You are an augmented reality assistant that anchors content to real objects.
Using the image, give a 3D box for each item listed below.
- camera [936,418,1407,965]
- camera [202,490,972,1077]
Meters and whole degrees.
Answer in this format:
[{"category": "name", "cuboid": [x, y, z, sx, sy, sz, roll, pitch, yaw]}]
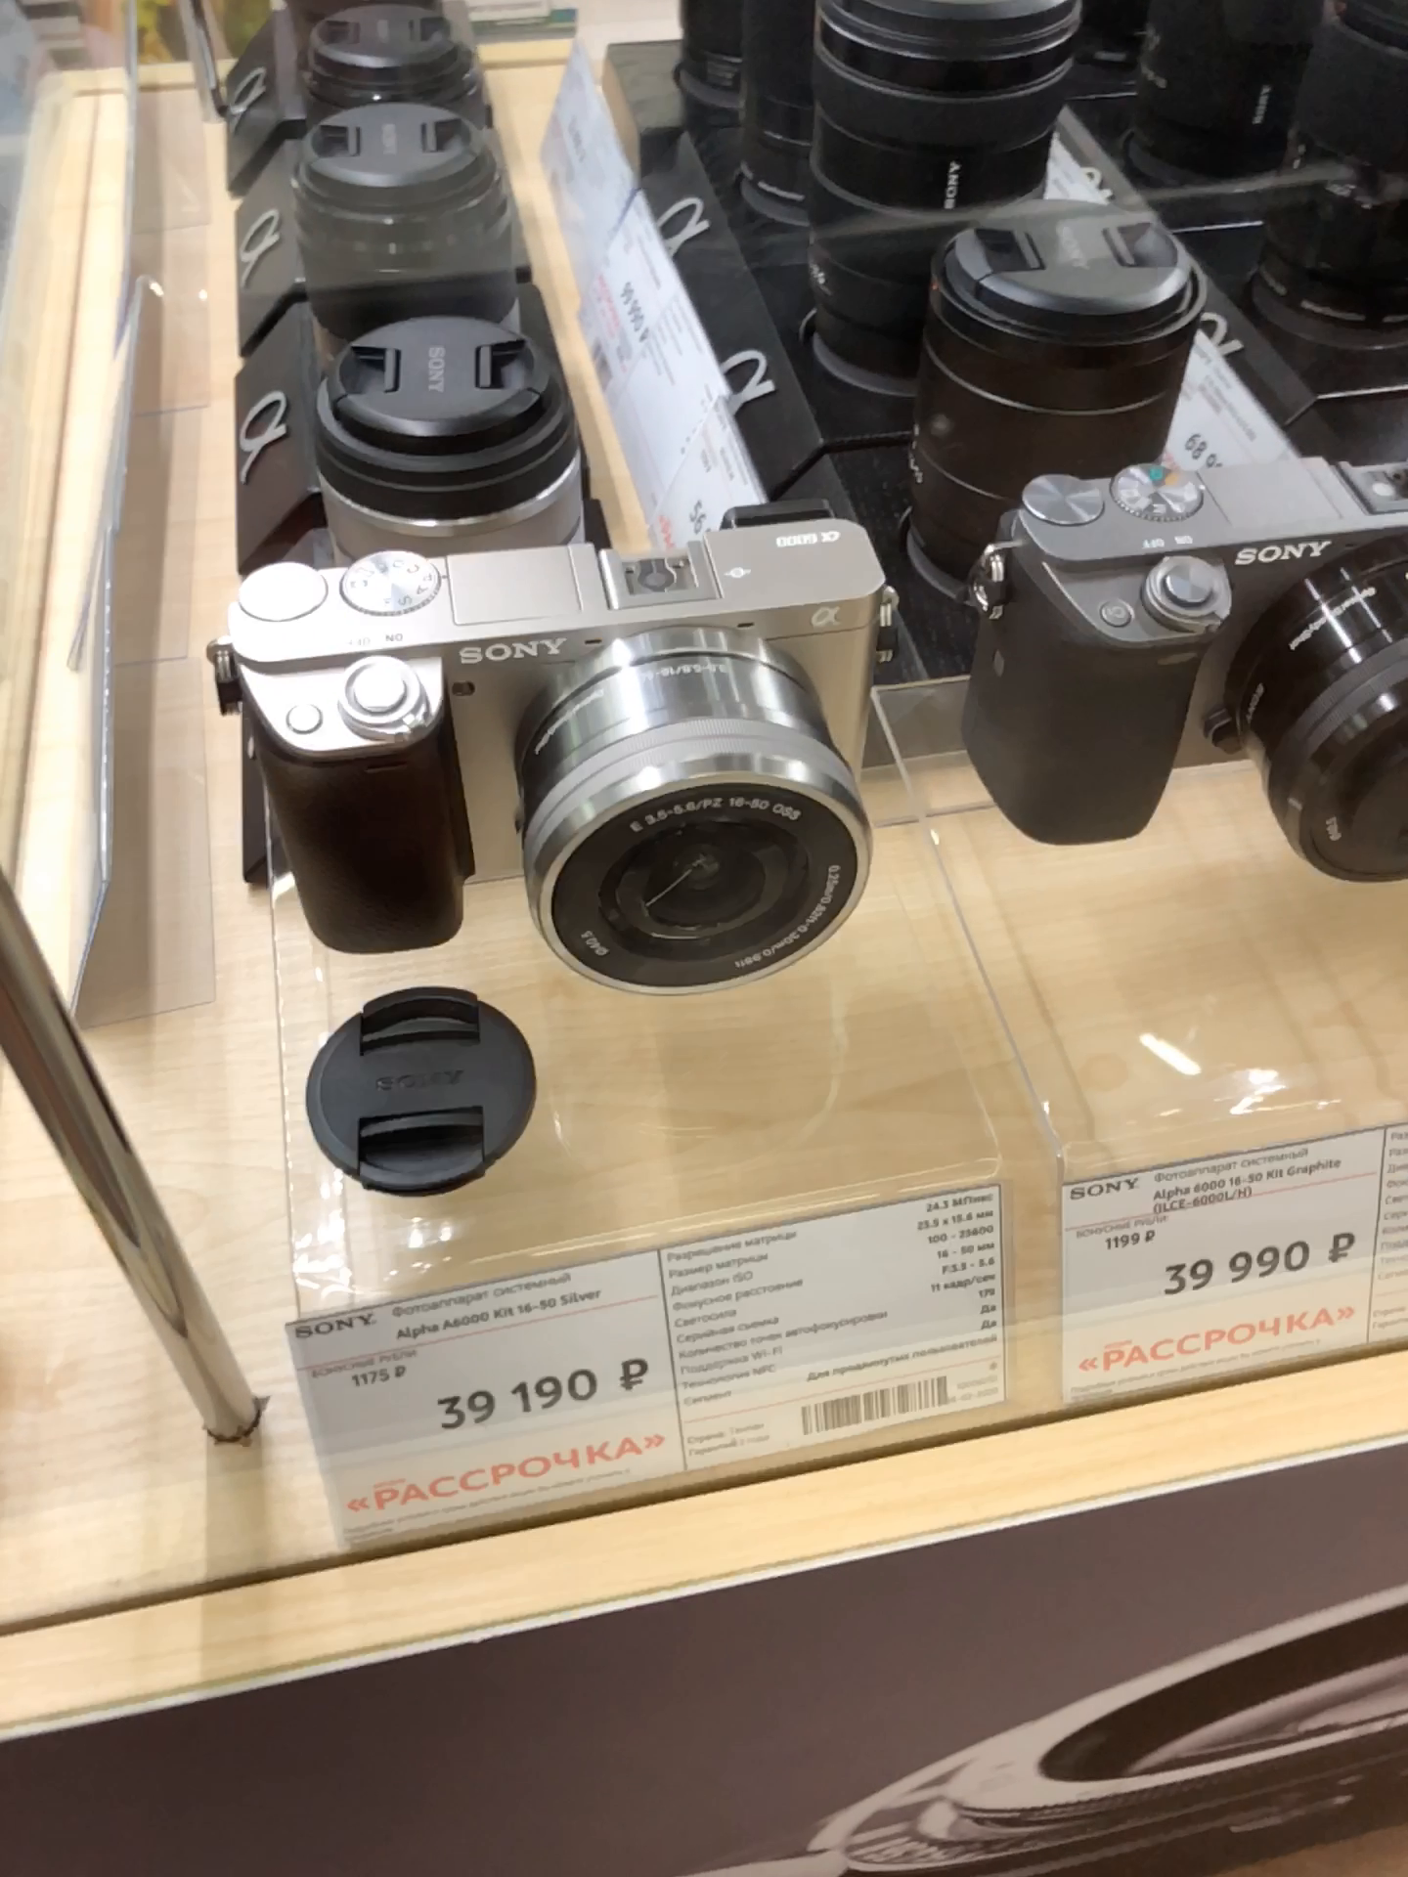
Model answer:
[{"category": "camera", "cuboid": [0.123, -0.052, 0.316, 0.127, 0.061, 0.076, -8, 51, -7]}, {"category": "camera", "cuboid": [-0.024, -0.031, 0.296, 0.124, 0.061, 0.076, -8, 51, -7]}]
